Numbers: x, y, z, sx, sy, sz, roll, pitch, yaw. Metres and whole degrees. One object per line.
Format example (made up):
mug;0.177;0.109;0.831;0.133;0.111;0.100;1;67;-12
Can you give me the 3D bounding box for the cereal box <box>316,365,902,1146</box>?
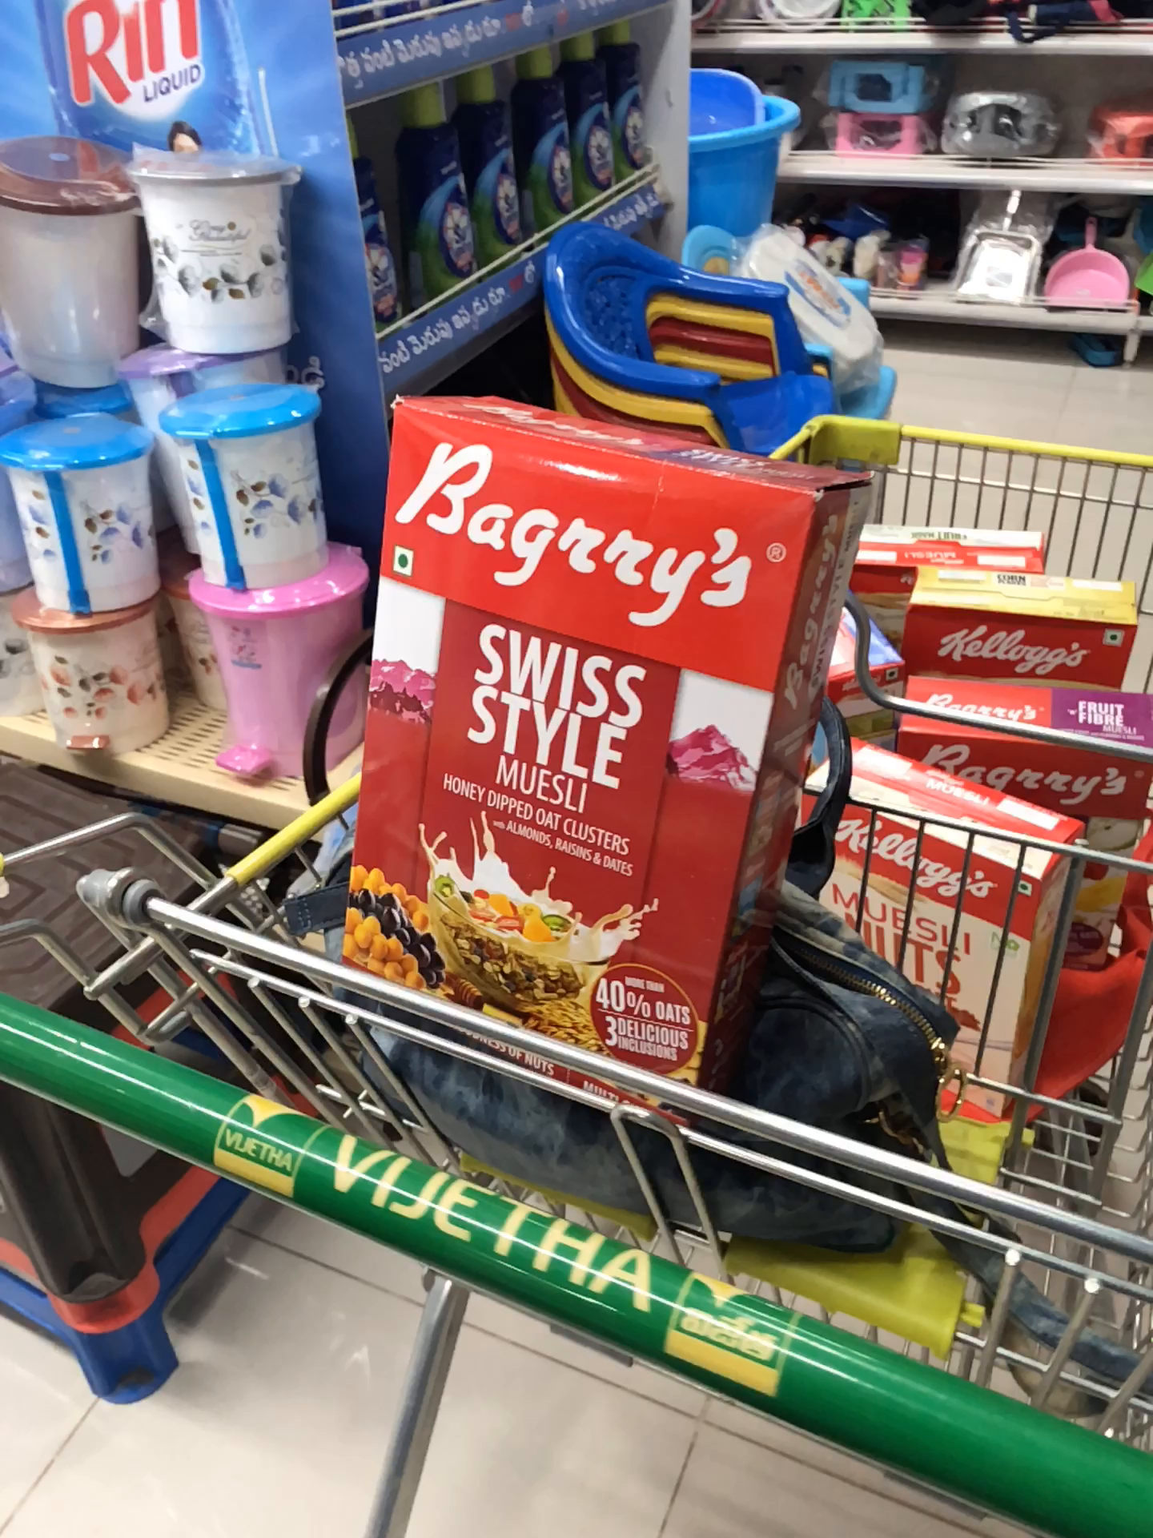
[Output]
cereal box;0.001;-0.013;0.517;0.190;0.259;0.070;19;20;28
